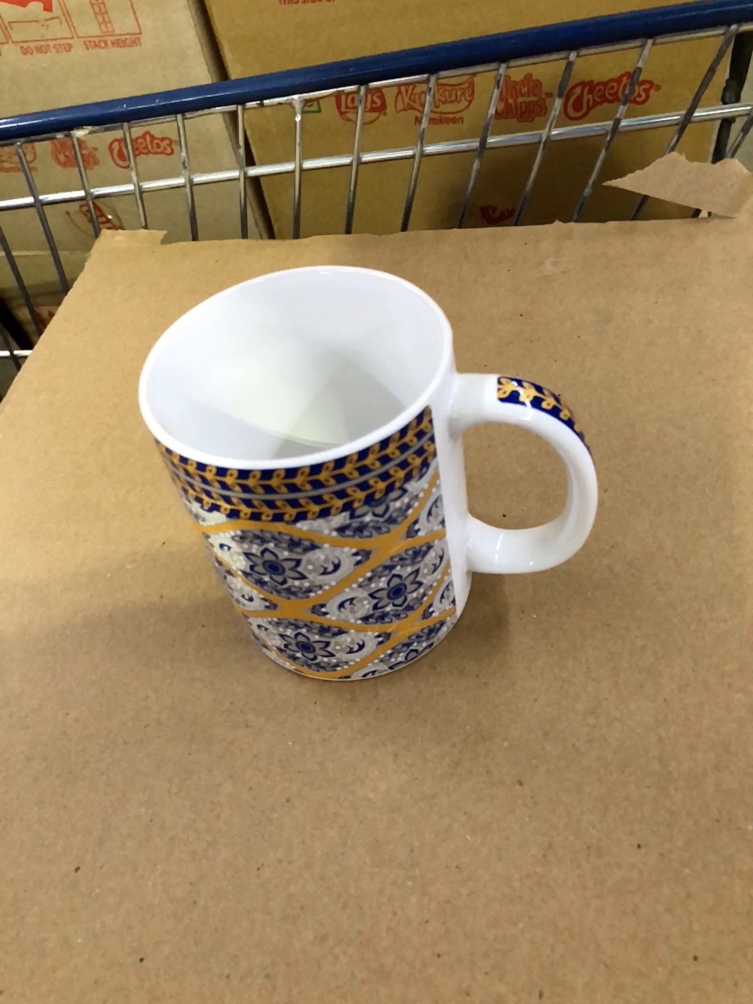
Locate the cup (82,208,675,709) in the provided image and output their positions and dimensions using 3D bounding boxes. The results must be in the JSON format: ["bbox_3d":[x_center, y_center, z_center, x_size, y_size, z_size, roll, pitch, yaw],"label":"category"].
[{"bbox_3d":[0.006,-0.008,0.230,0.120,0.099,0.080,-5,43,7],"label":"cup"}]
